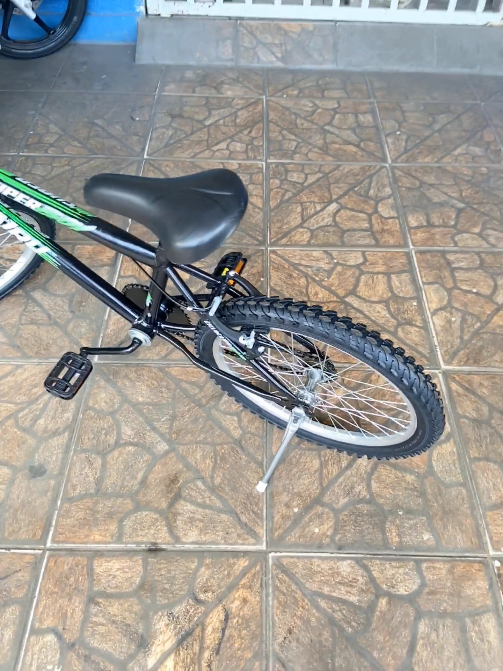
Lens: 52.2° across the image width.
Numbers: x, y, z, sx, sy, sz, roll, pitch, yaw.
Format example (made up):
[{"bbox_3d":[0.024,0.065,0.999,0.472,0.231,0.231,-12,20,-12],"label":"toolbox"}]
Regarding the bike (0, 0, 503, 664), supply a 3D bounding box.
[{"bbox_3d":[-0.285,-0.027,0.870,1.270,0.935,0.601,11,50,11],"label":"bike"}]
